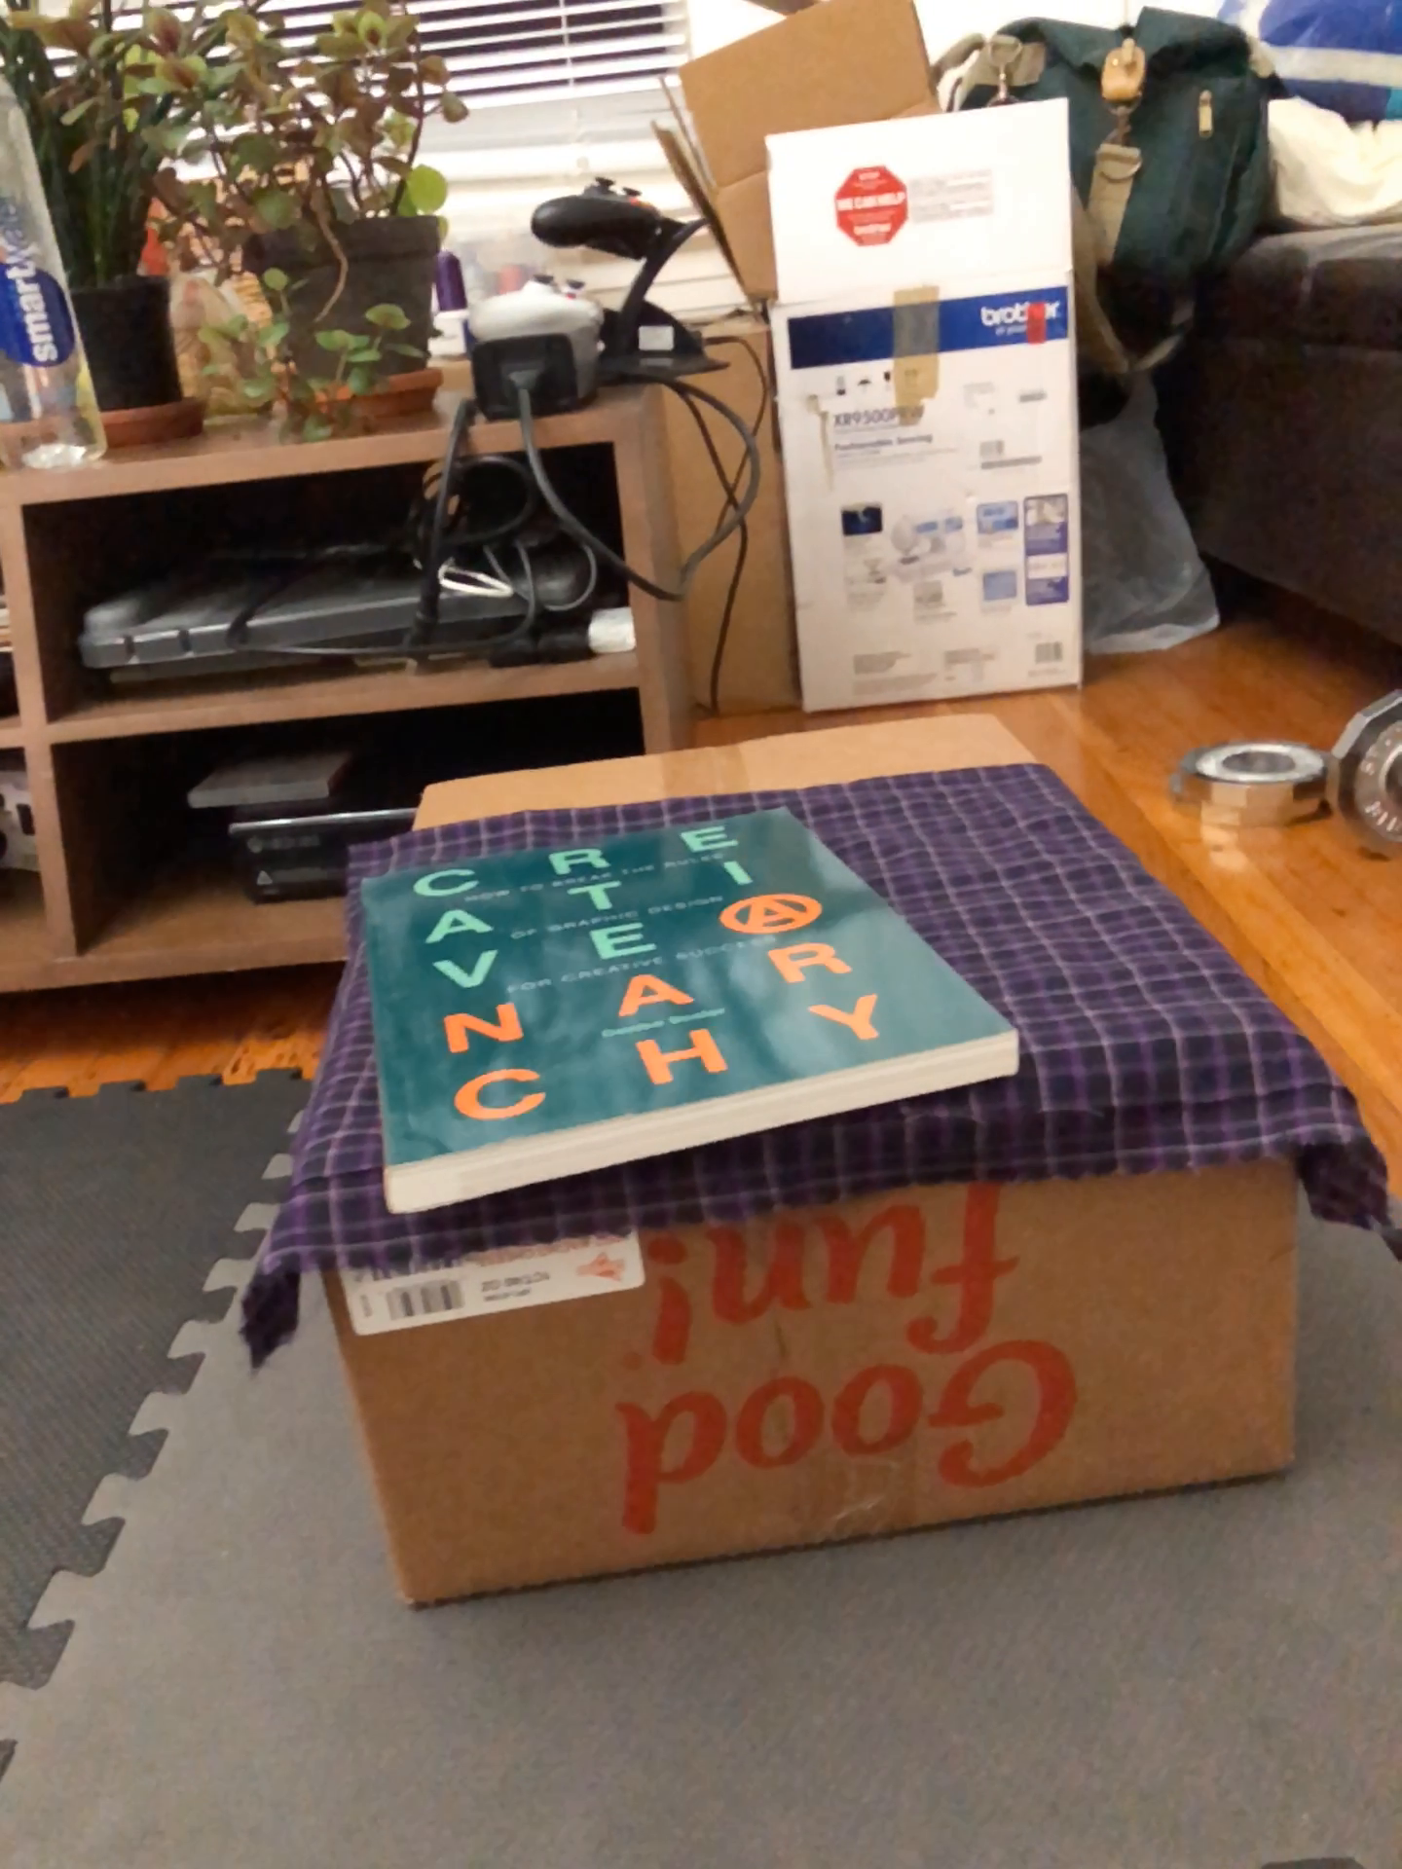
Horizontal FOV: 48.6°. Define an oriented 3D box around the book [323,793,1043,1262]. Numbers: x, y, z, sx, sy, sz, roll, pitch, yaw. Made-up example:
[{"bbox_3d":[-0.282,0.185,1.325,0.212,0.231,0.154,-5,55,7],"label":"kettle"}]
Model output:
[{"bbox_3d":[-0.033,0.014,0.611,0.220,0.020,0.301,-11,23,-10],"label":"book"}]
